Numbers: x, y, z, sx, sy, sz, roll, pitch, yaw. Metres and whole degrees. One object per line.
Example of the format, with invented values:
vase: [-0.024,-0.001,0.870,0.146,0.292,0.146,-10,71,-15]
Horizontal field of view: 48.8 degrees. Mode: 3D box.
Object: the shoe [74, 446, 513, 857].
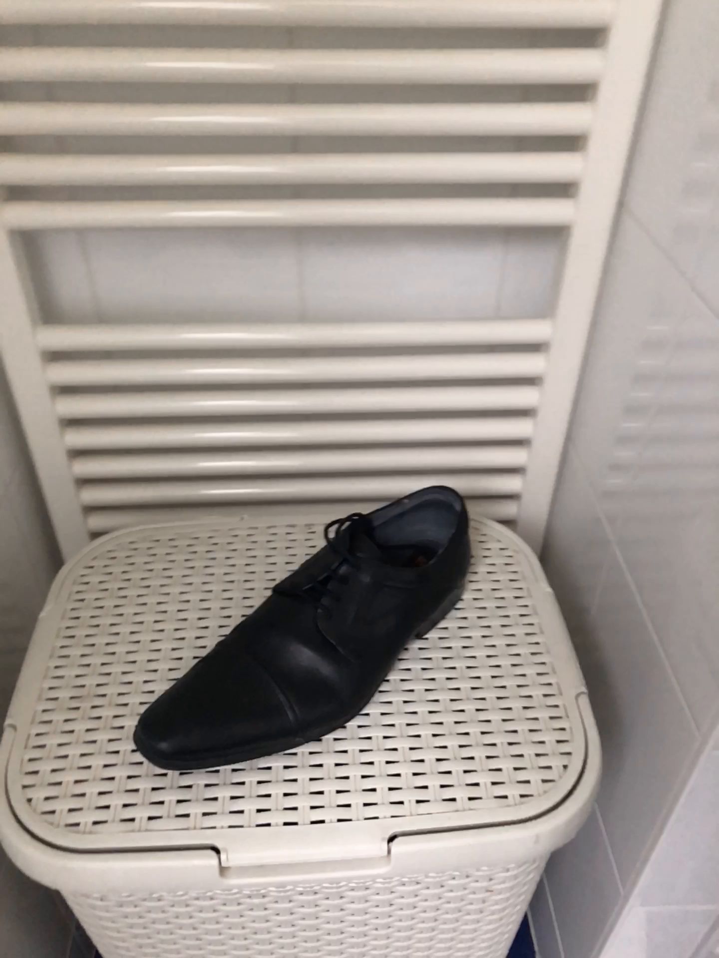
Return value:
shoe: [-0.031,0.105,0.583,0.110,0.099,0.312,32,48,32]
